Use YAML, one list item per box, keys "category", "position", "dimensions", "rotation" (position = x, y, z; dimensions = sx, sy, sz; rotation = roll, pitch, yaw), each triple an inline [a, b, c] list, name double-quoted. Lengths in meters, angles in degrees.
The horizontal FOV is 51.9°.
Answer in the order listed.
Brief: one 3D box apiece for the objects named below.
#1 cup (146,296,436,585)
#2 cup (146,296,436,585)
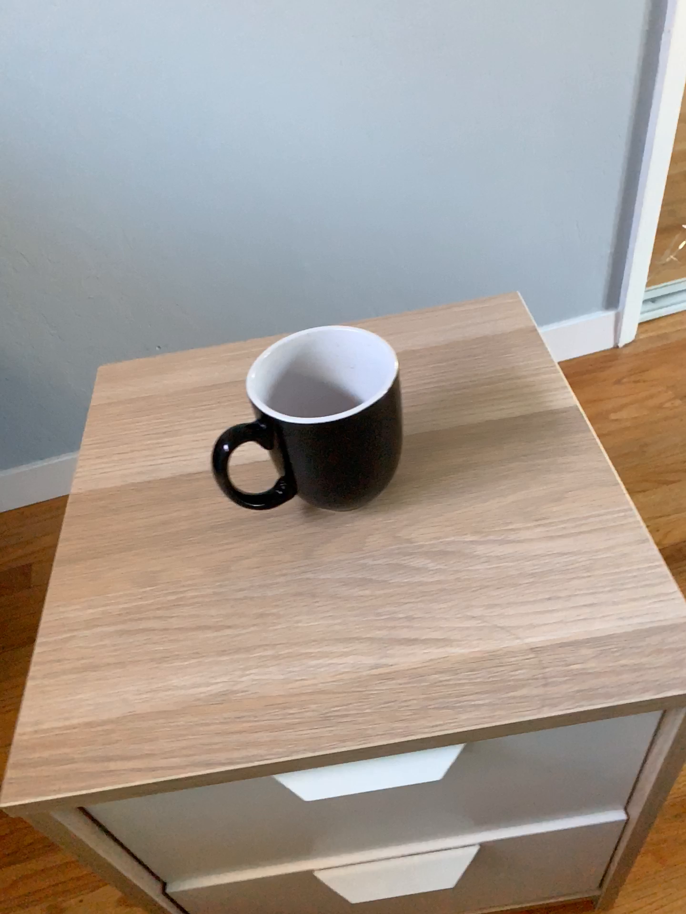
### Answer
- category: "cup"
  position: [-0.029, -0.016, 0.476]
  dimensions: [0.150, 0.100, 0.100]
  rotation: [-33, 49, -21]
- category: "cup"
  position: [-0.029, -0.016, 0.476]
  dimensions: [0.150, 0.100, 0.100]
  rotation: [-33, 49, -21]
